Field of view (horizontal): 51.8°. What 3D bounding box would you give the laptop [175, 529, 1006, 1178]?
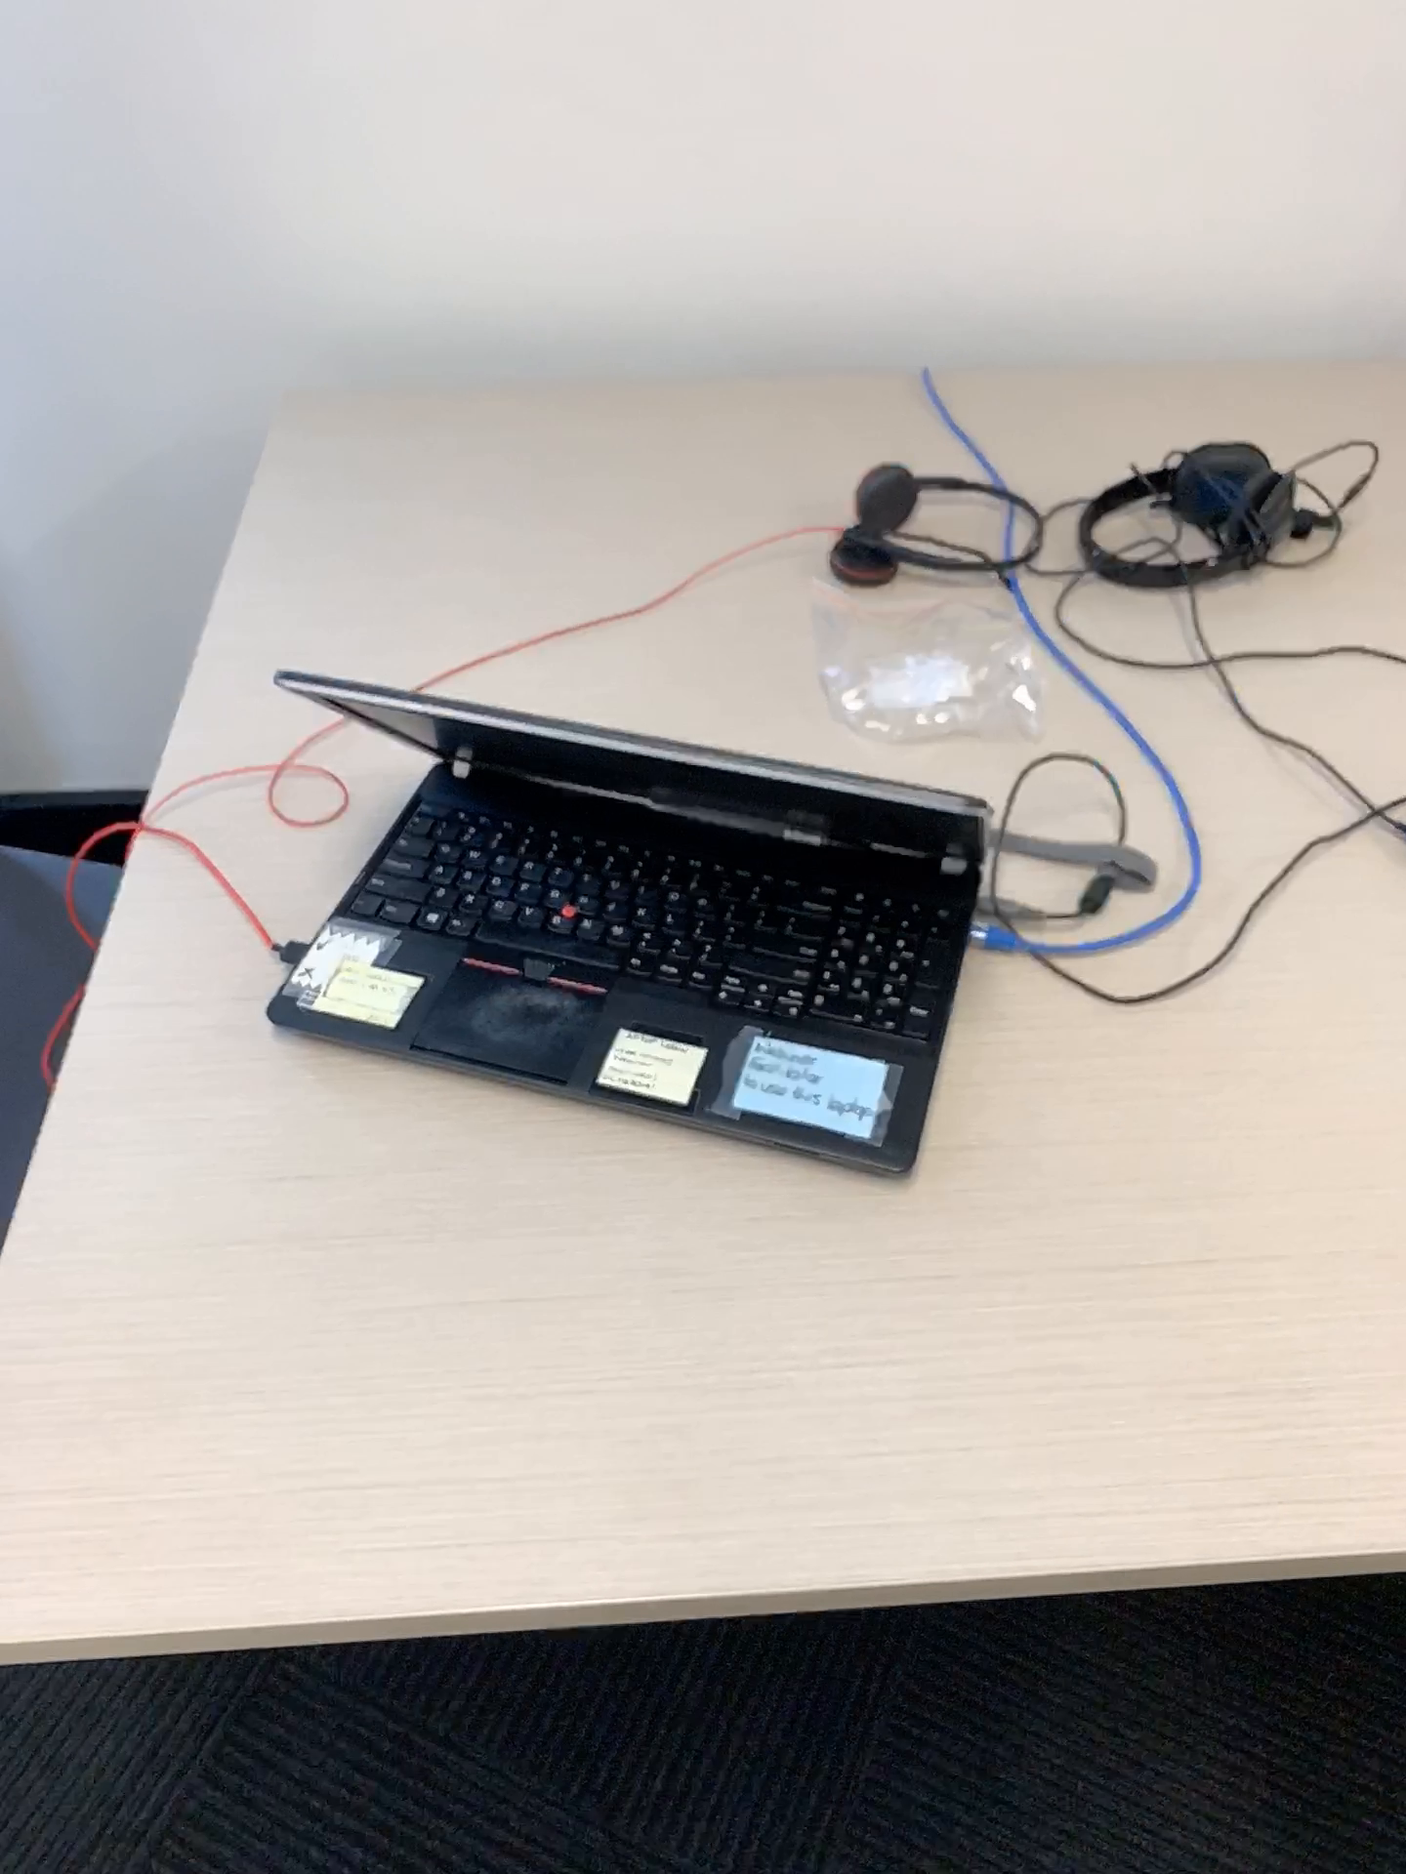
[{"bbox_3d":[-0.036,-0.057,0.700,0.326,0.157,0.227,11,42,14],"label":"laptop"}]
